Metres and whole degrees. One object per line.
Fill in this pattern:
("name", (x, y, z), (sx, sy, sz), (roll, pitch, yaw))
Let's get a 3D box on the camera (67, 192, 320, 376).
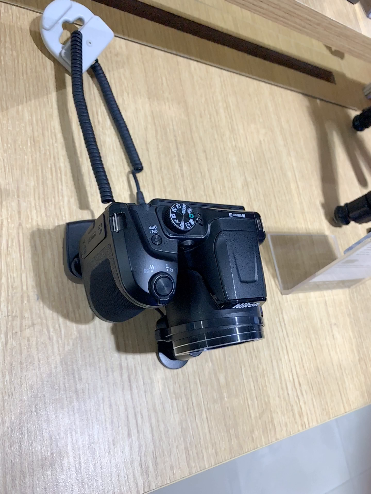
("camera", (0.003, 0.022, 0.231), (0.120, 0.070, 0.080), (-1, 72, -33))
